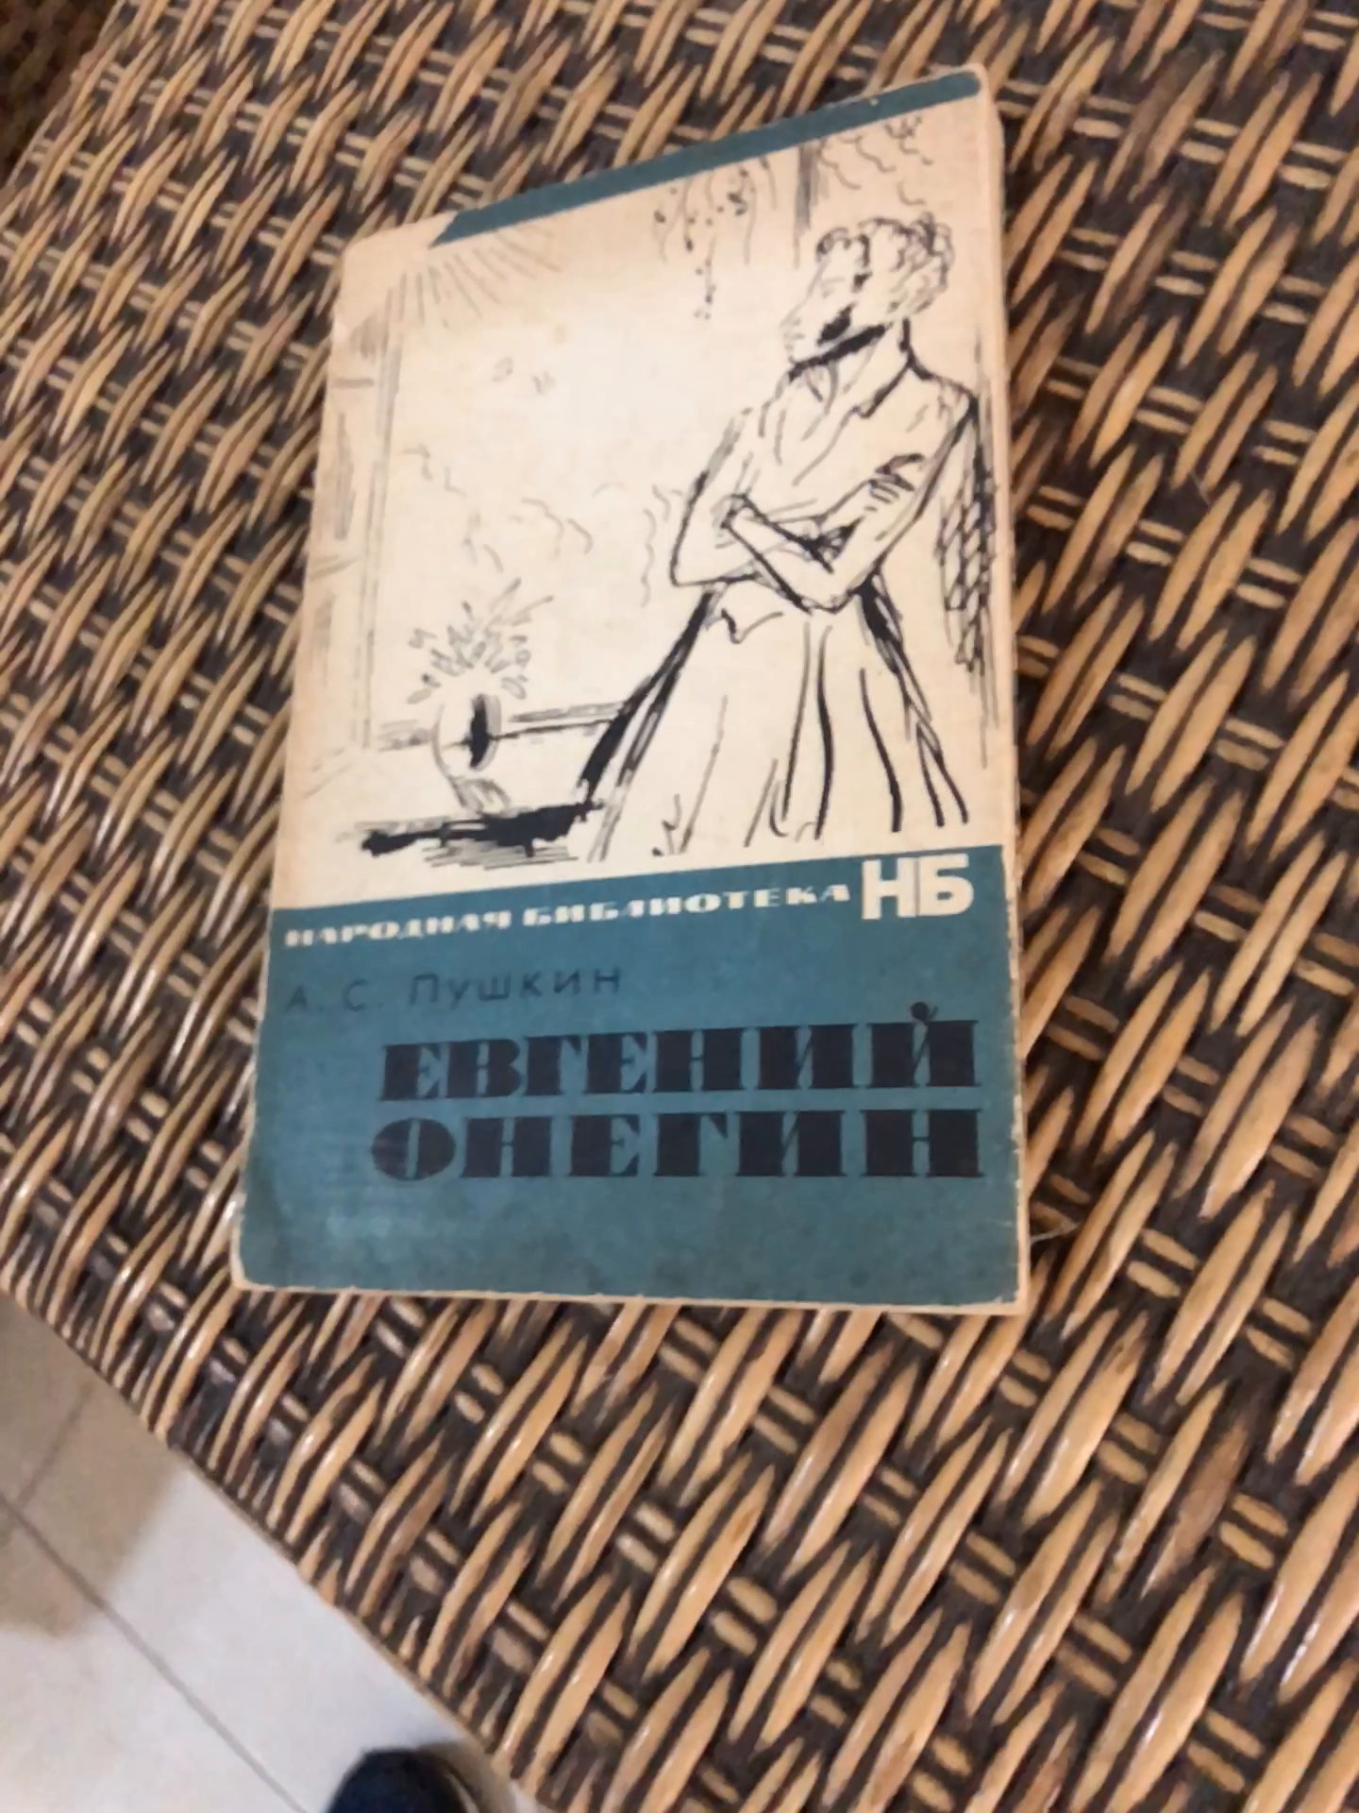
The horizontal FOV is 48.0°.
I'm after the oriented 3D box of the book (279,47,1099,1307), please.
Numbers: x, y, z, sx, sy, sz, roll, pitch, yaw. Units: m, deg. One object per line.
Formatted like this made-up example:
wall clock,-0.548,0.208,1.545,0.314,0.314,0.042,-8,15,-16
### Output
book,0.001,-0.036,0.245,0.120,0.020,0.190,-4,74,22
